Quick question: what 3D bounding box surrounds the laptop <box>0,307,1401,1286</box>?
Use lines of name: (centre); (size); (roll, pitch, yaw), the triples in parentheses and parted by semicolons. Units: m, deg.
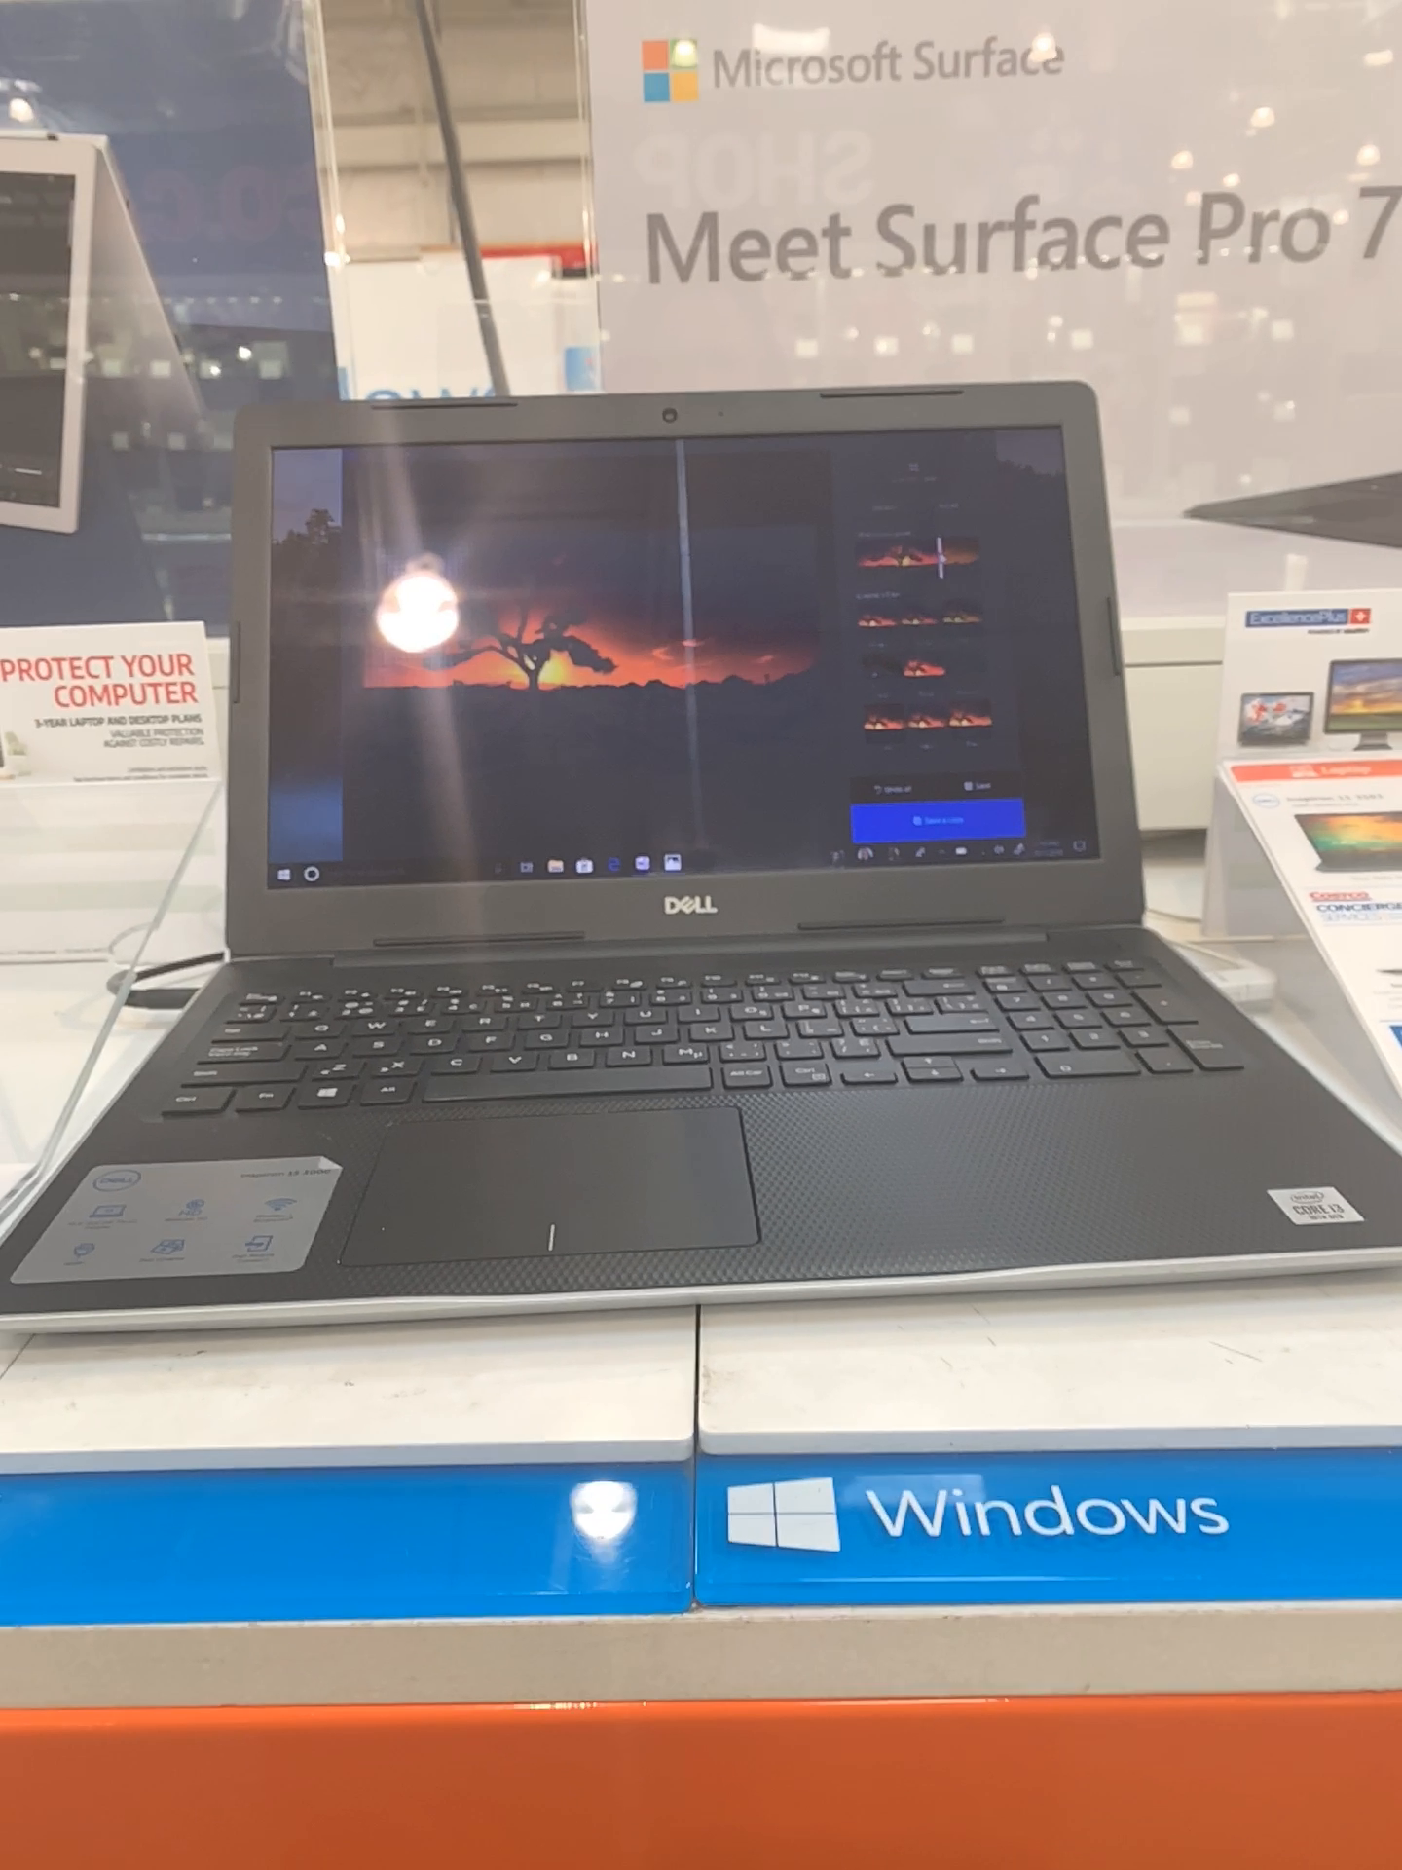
laptop: (0.003, -0.074, 0.473); (0.357, 0.206, 0.343); (-2, 17, -3)
